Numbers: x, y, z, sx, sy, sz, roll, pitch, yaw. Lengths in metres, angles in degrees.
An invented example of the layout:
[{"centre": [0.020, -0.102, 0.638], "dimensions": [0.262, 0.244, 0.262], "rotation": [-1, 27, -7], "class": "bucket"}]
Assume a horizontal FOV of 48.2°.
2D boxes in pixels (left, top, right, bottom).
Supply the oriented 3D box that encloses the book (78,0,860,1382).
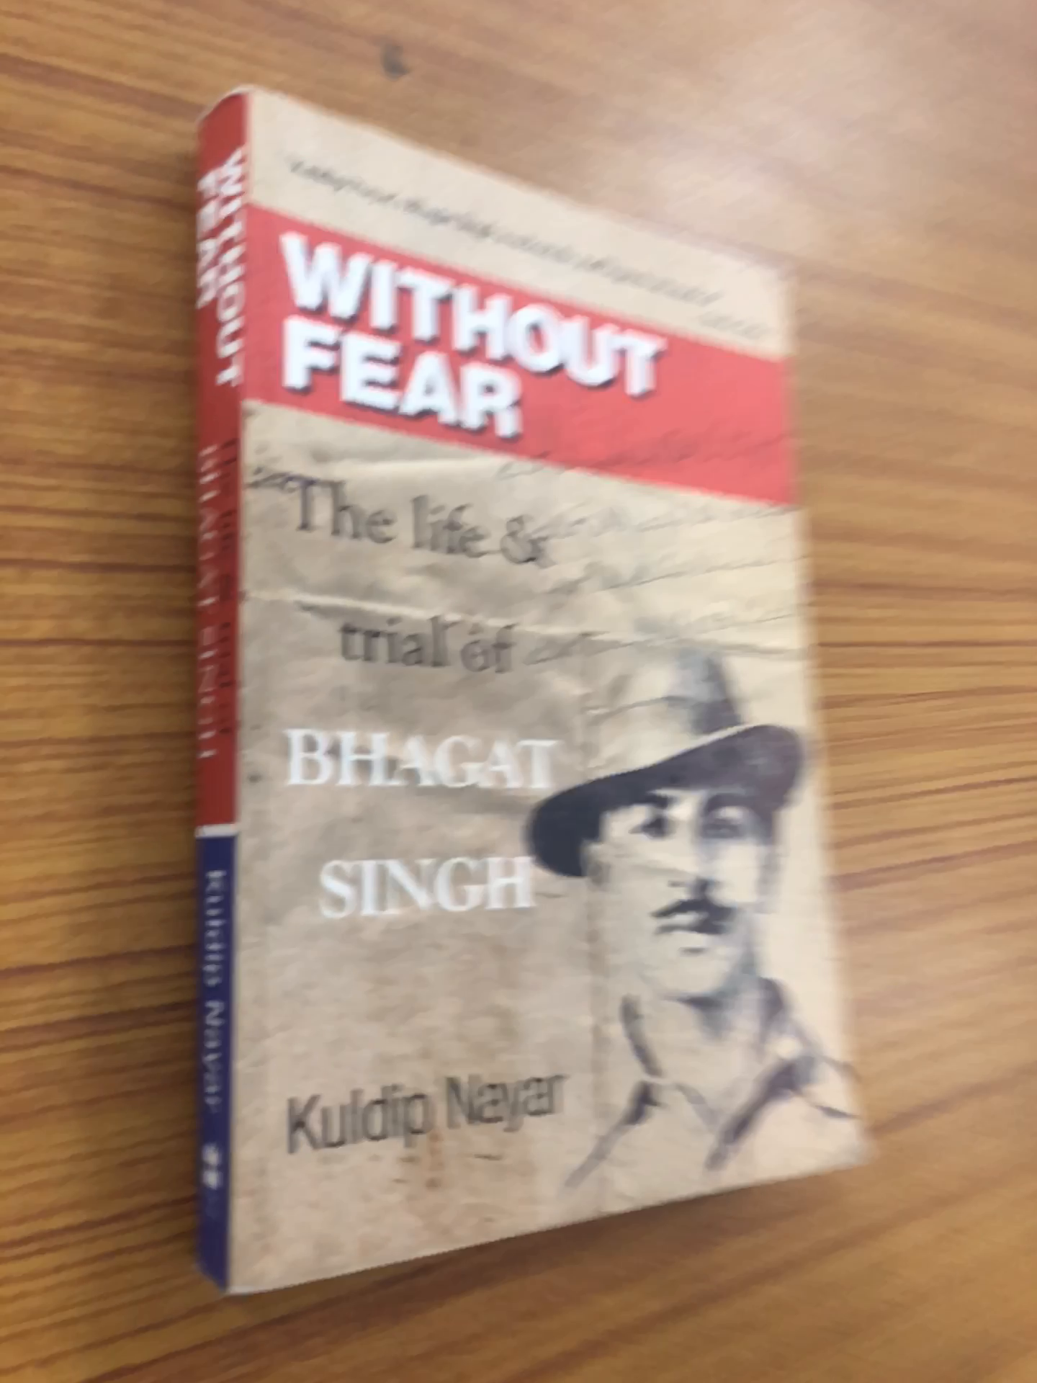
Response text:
[{"centre": [-0.003, -0.006, 0.219], "dimensions": [0.141, 0.030, 0.210], "rotation": [4, 80, -32], "class": "book"}]
